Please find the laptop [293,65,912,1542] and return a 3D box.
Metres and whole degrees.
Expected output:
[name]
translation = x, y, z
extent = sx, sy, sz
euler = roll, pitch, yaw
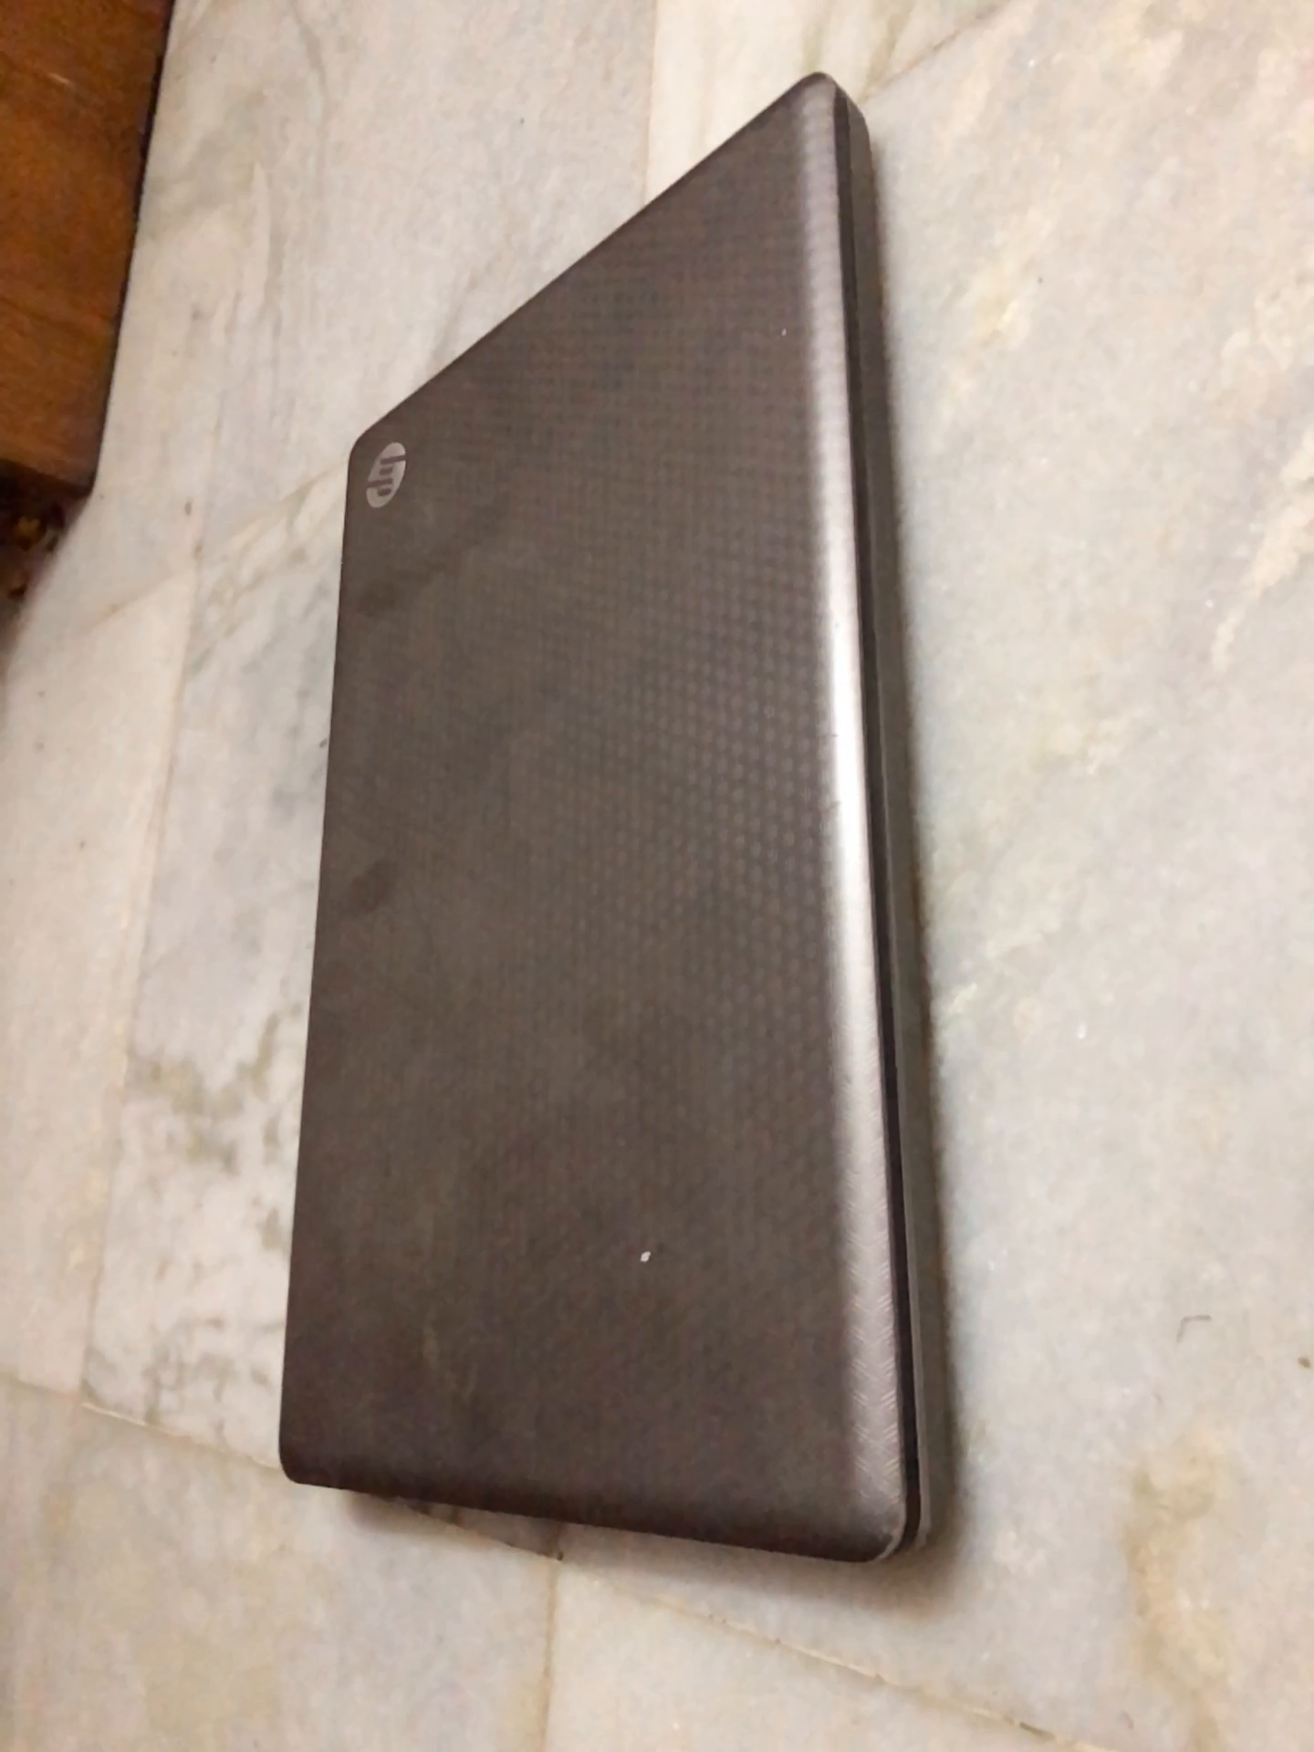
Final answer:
[laptop]
translation = -0.035, -0.021, 0.452
extent = 0.253, 0.003, 0.394
euler = -18, 65, 44
